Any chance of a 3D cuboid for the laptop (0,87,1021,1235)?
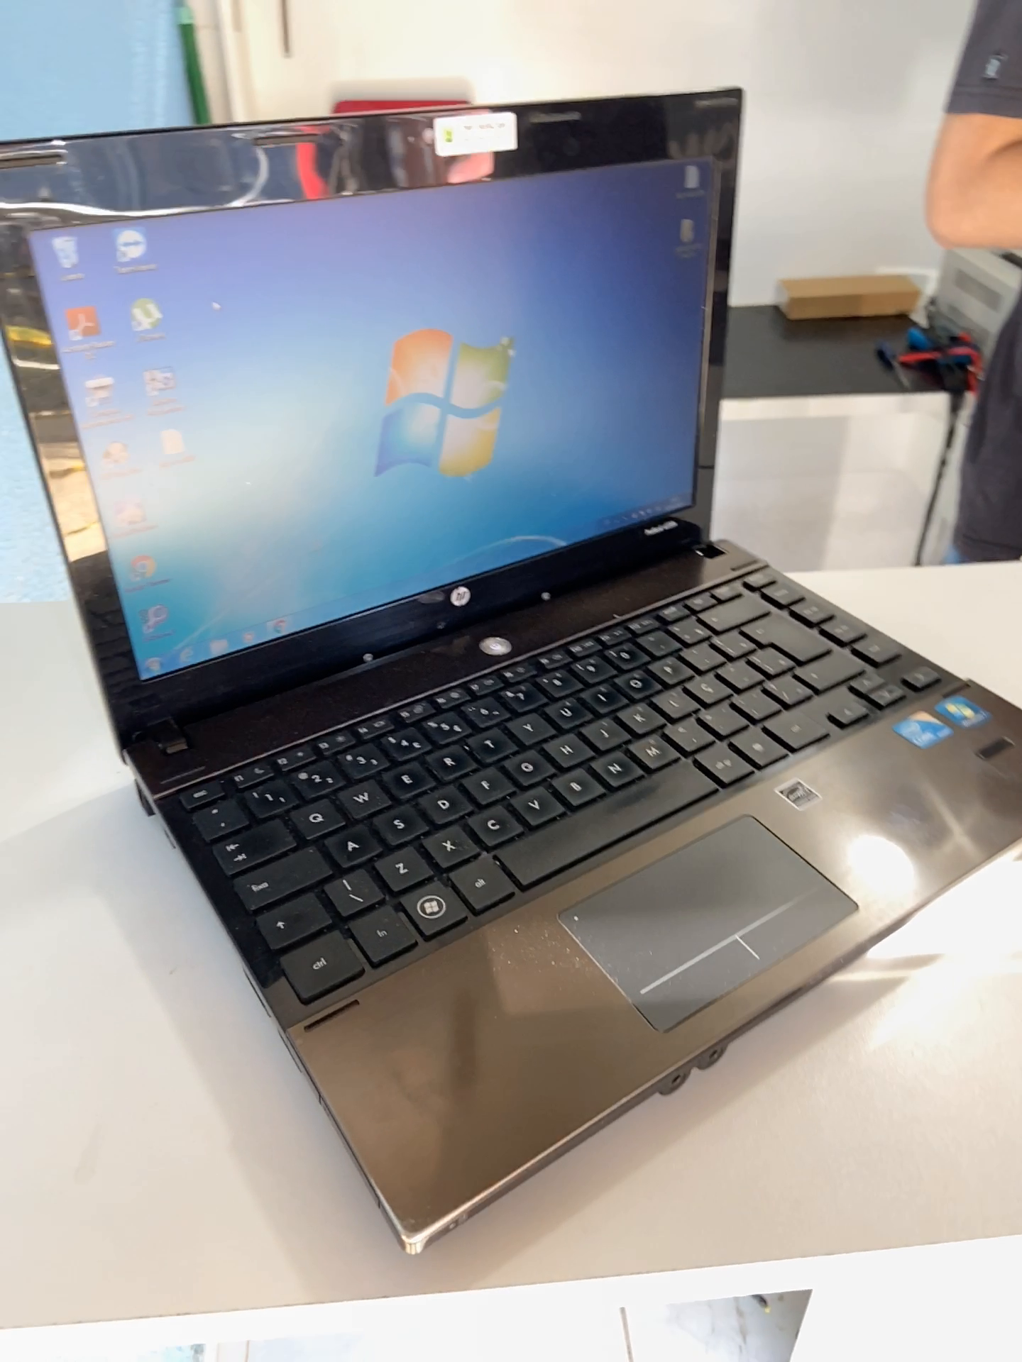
[{"bbox_3d":[0.033,-0.063,0.368,0.322,0.207,0.260,-21,40,-26],"label":"laptop"}]
